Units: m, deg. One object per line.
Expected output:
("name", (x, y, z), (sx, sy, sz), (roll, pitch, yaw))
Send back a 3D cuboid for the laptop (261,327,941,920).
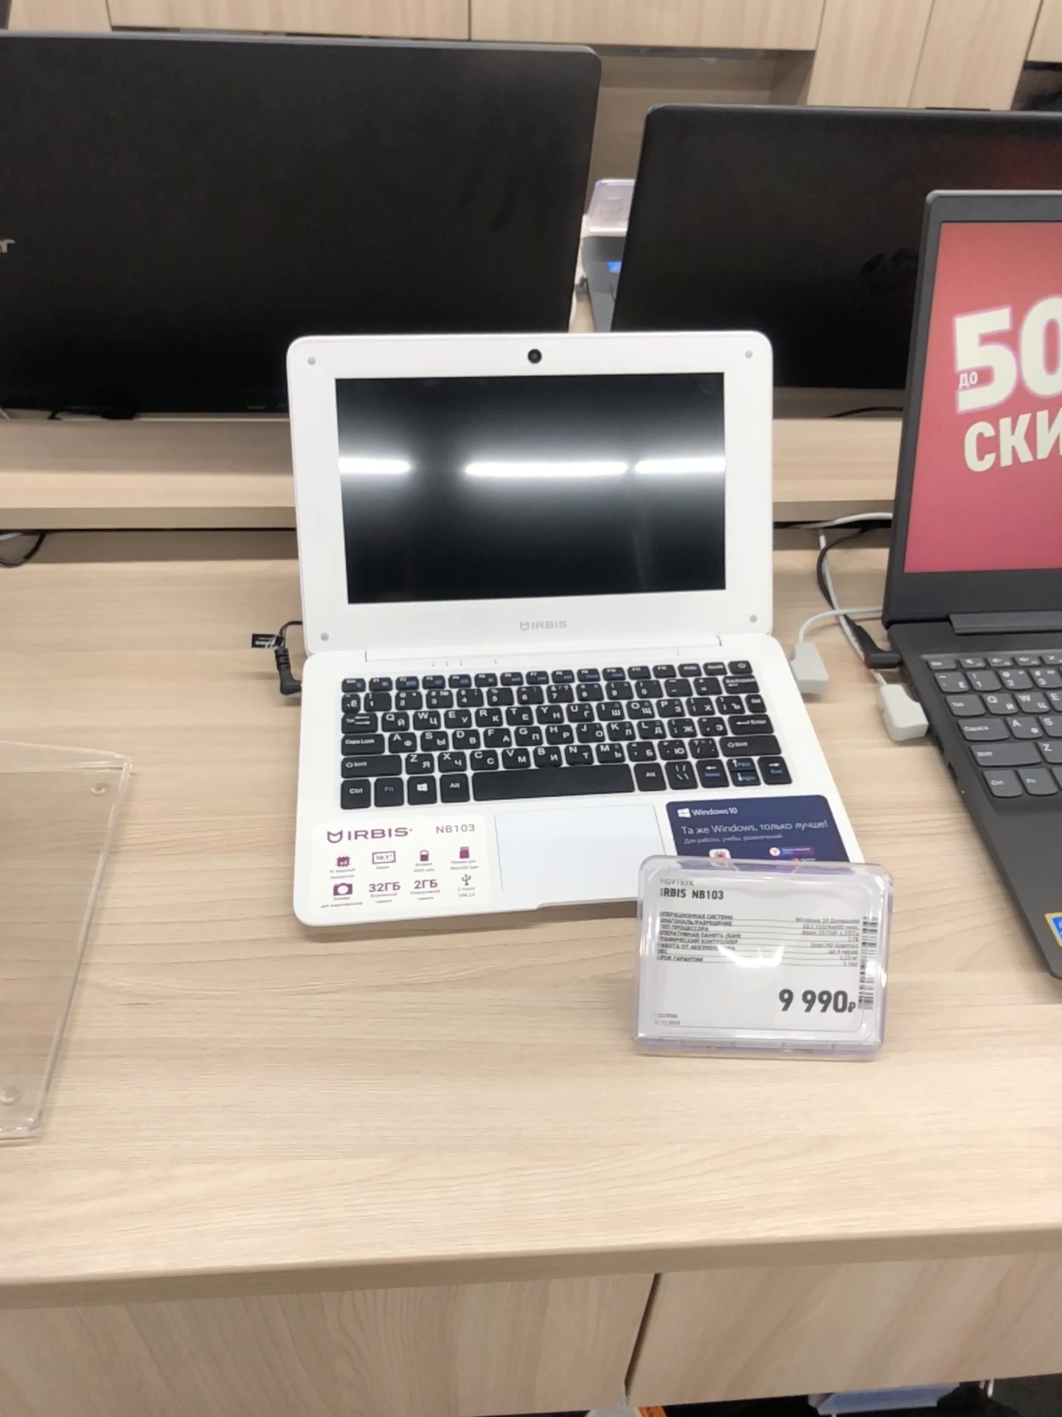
("laptop", (0.016, -0.067, 0.664), (0.296, 0.144, 0.319), (-3, 45, -6))
